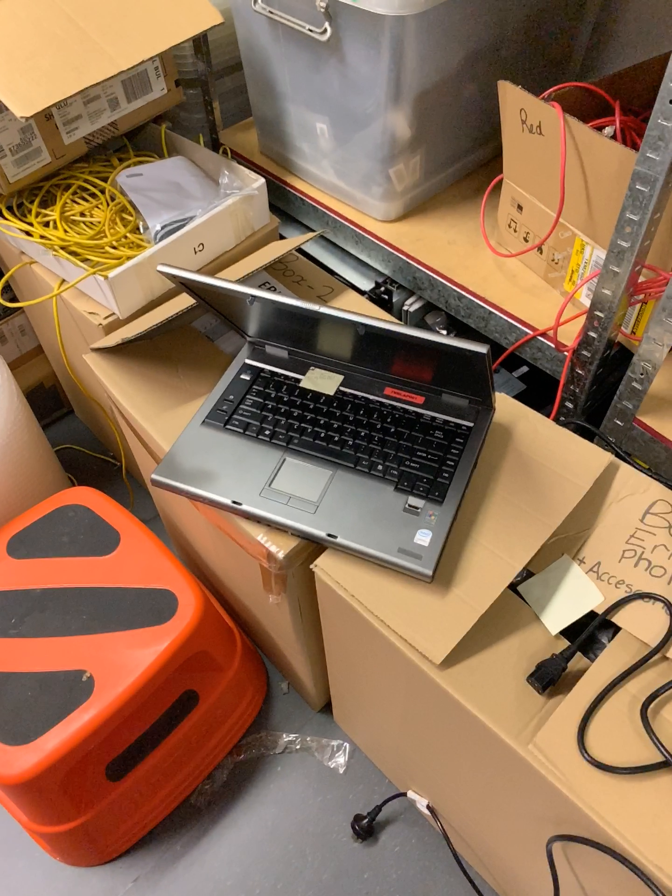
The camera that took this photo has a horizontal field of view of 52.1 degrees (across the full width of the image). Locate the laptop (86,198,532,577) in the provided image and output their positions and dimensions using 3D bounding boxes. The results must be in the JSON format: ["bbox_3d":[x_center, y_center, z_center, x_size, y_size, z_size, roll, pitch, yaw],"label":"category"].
[{"bbox_3d":[-0.016,-0.077,0.761,0.360,0.238,0.263,17,53,16],"label":"laptop"}]
